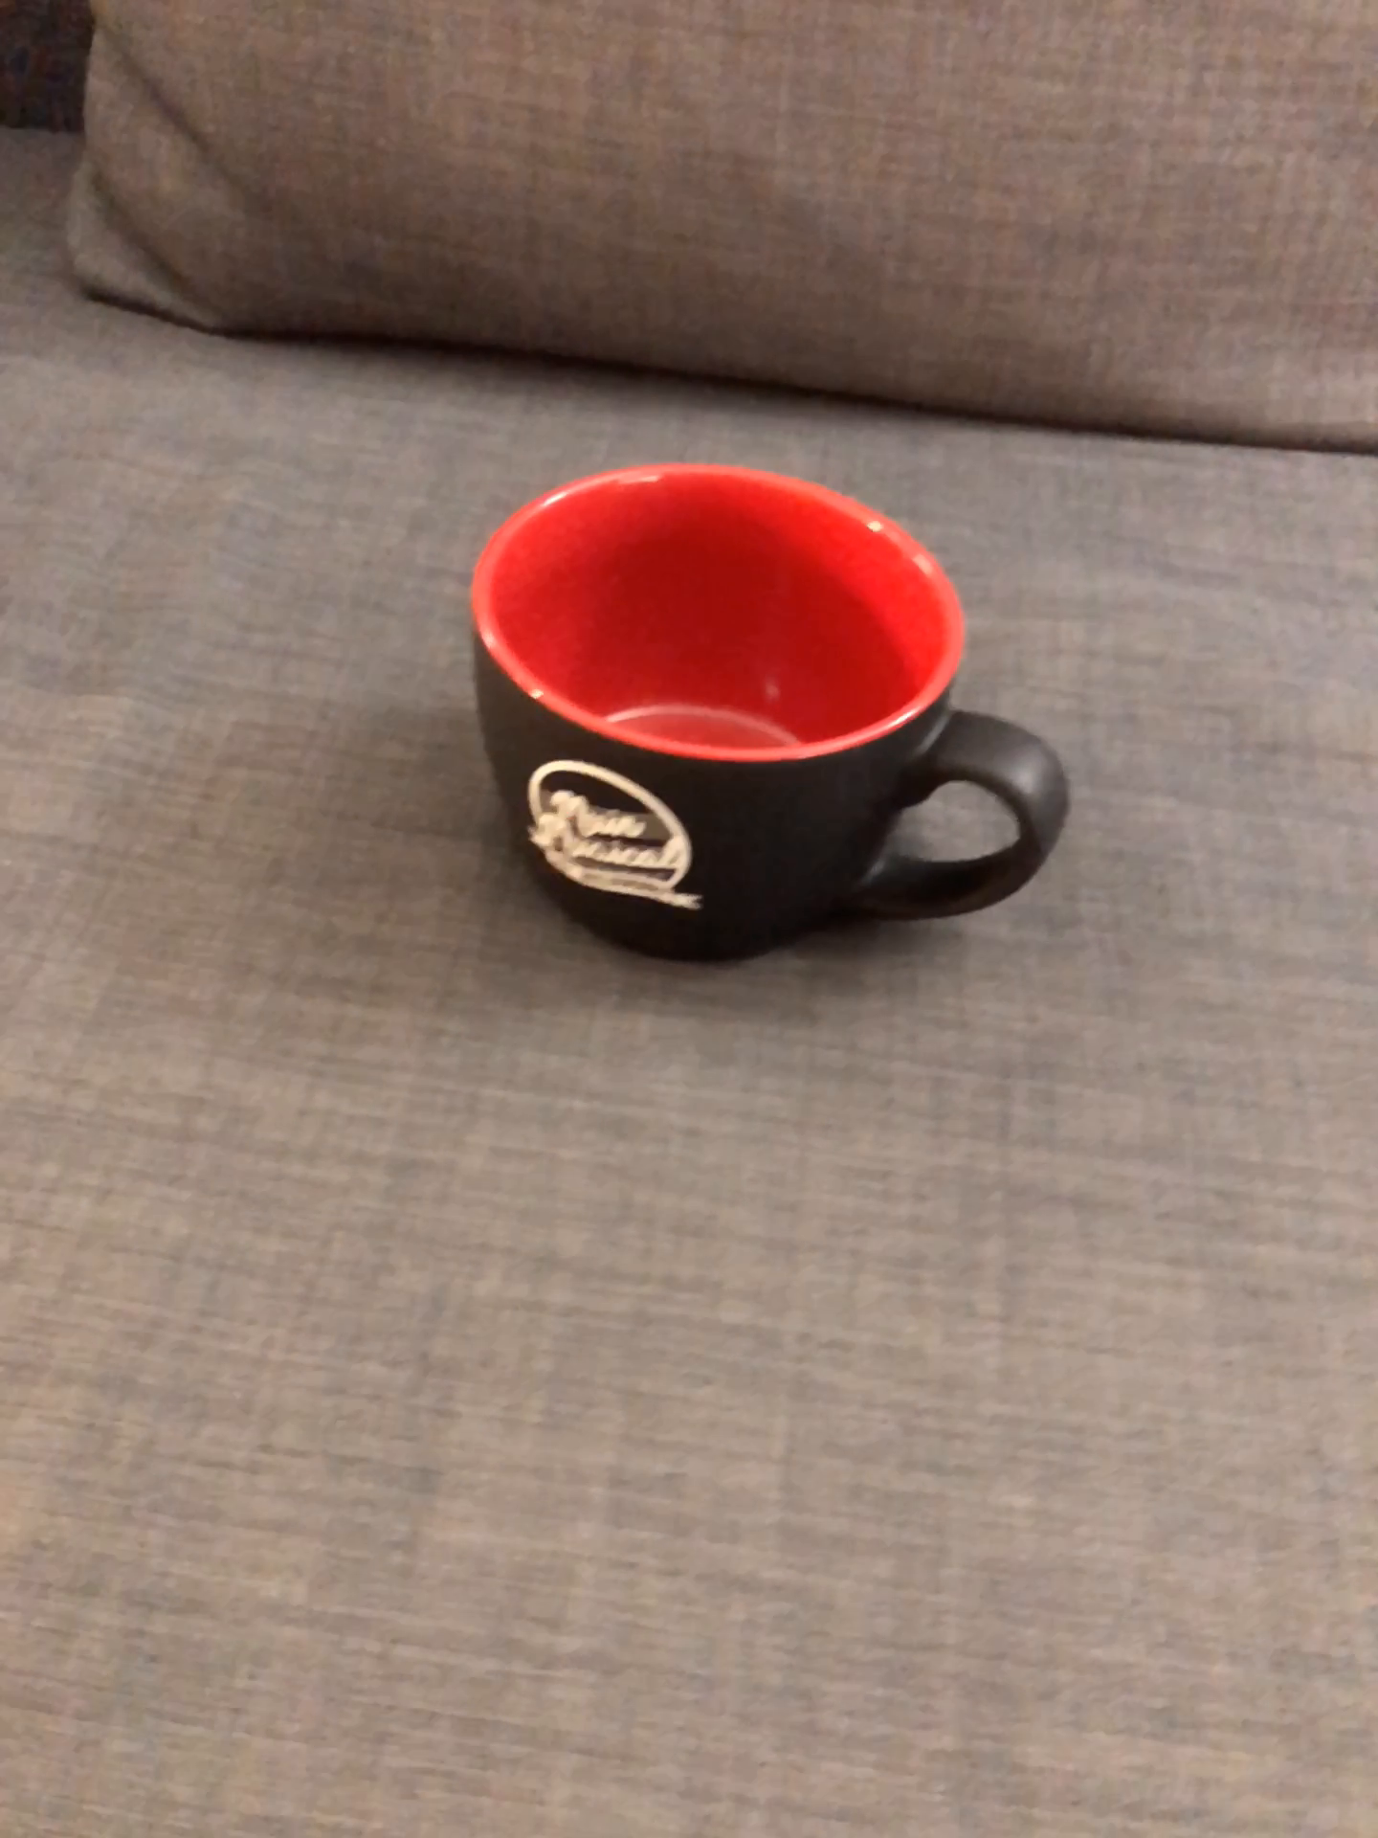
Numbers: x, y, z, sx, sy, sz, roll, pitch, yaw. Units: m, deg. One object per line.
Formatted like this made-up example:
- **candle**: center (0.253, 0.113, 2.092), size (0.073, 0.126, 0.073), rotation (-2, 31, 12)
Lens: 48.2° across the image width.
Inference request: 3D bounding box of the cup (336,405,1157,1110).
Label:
- **cup**: center (0.016, -0.049, 0.395), size (0.160, 0.080, 0.120), rotation (22, 48, 16)
